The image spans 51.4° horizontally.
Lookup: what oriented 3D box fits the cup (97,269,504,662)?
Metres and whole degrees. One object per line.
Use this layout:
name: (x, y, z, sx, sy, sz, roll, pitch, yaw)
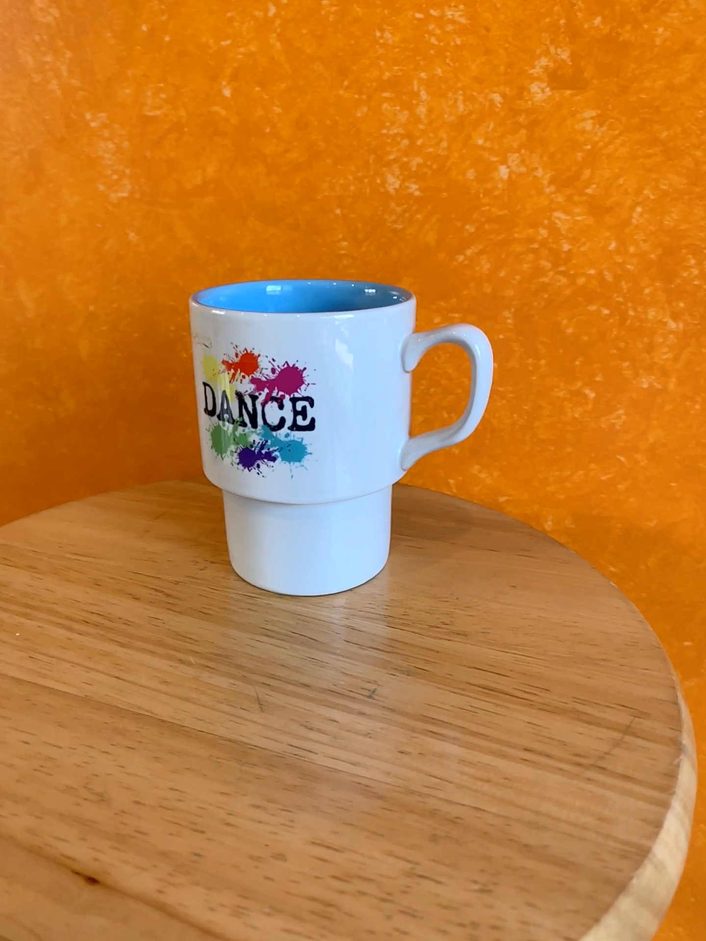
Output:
cup: (-0.018, -0.013, 0.280, 0.120, 0.109, 0.080, 12, 24, 27)
